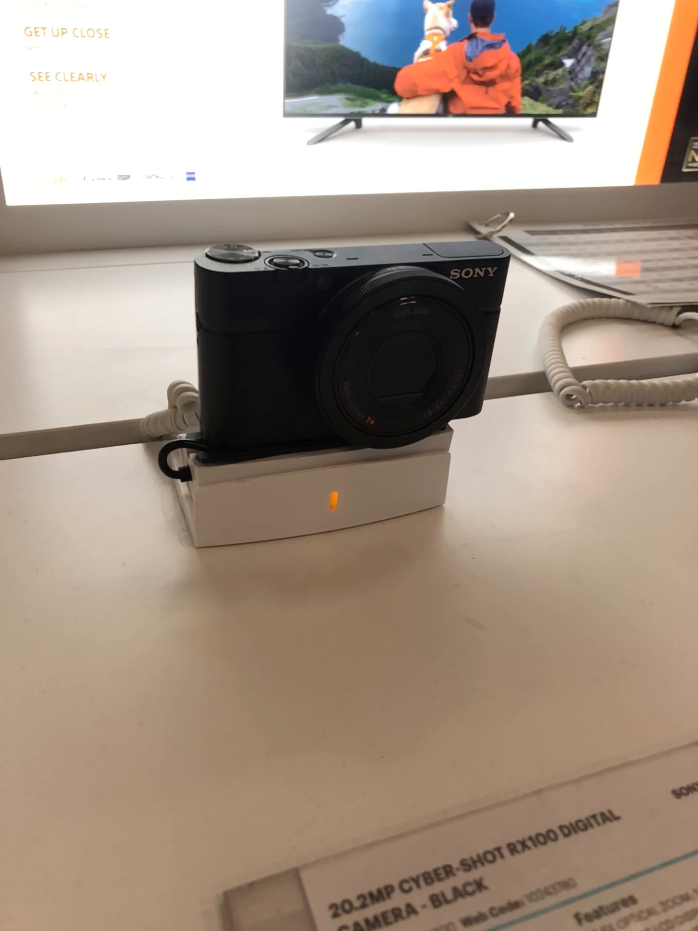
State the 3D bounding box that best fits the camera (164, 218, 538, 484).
[{"bbox_3d":[0.000,-0.039,0.253,0.110,0.070,0.030,-8,32,-19],"label":"camera"}]
